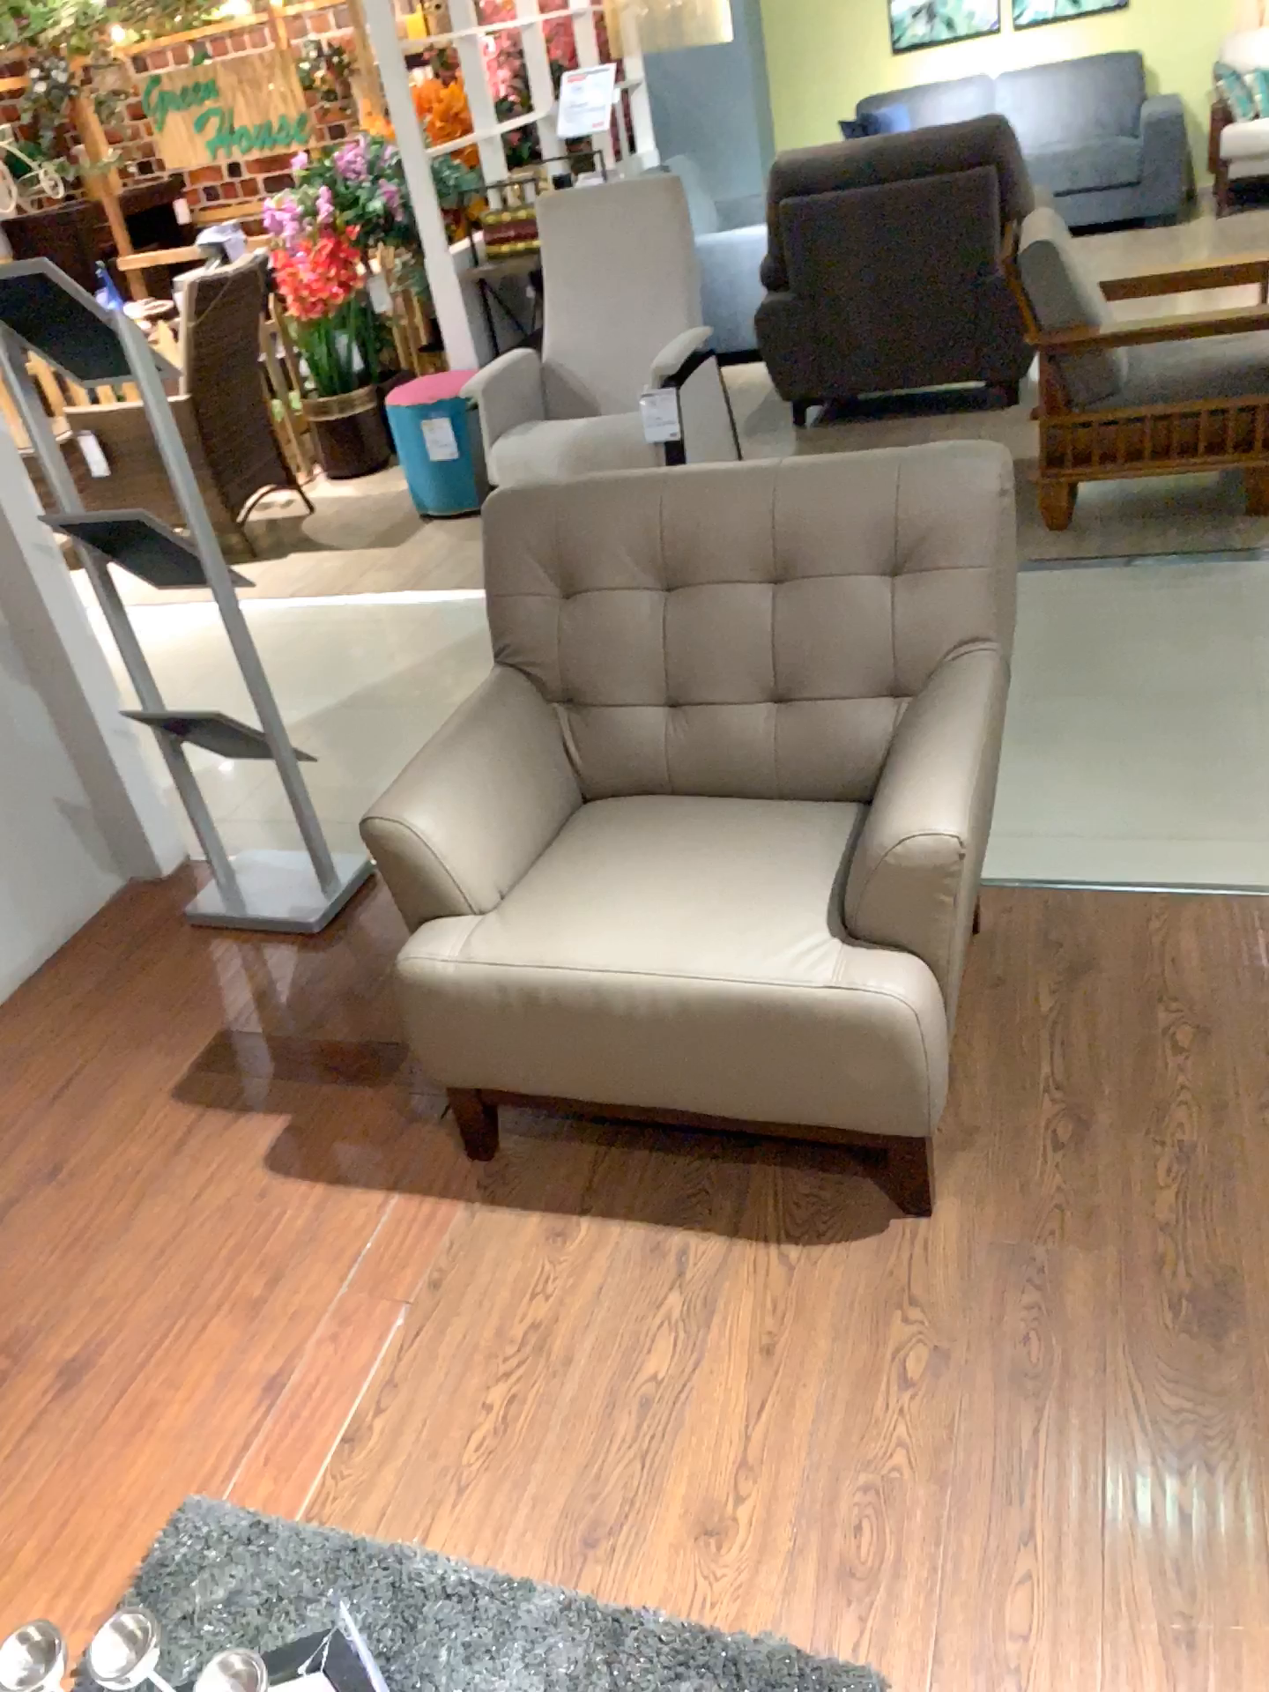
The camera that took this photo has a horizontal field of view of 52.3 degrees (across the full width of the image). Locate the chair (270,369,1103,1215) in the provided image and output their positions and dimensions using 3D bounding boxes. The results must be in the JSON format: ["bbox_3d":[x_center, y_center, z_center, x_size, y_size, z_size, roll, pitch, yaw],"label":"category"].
[{"bbox_3d":[0.207,-0.162,2.091,0.951,0.856,1.003,4,35,21],"label":"chair"}]
